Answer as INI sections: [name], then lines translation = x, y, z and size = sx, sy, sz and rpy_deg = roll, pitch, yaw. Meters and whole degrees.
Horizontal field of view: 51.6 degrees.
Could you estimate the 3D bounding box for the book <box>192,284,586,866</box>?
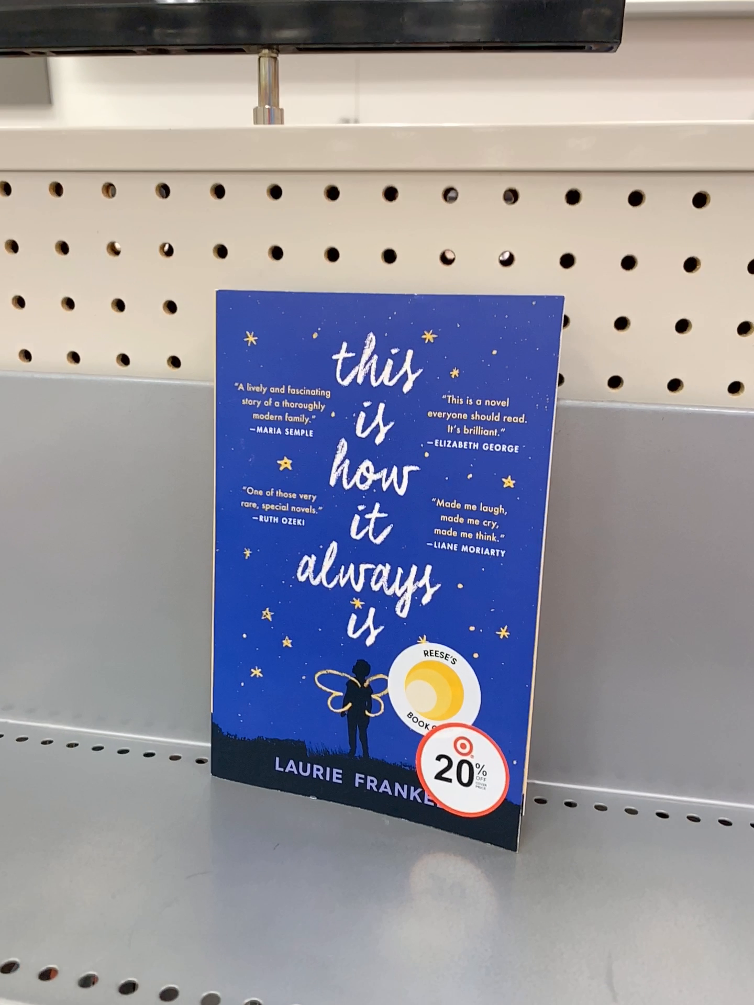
[book]
translation = 0.000, 0.023, 0.319
size = 0.140, 0.209, 0.044
rpy_deg = 7, 11, 17
